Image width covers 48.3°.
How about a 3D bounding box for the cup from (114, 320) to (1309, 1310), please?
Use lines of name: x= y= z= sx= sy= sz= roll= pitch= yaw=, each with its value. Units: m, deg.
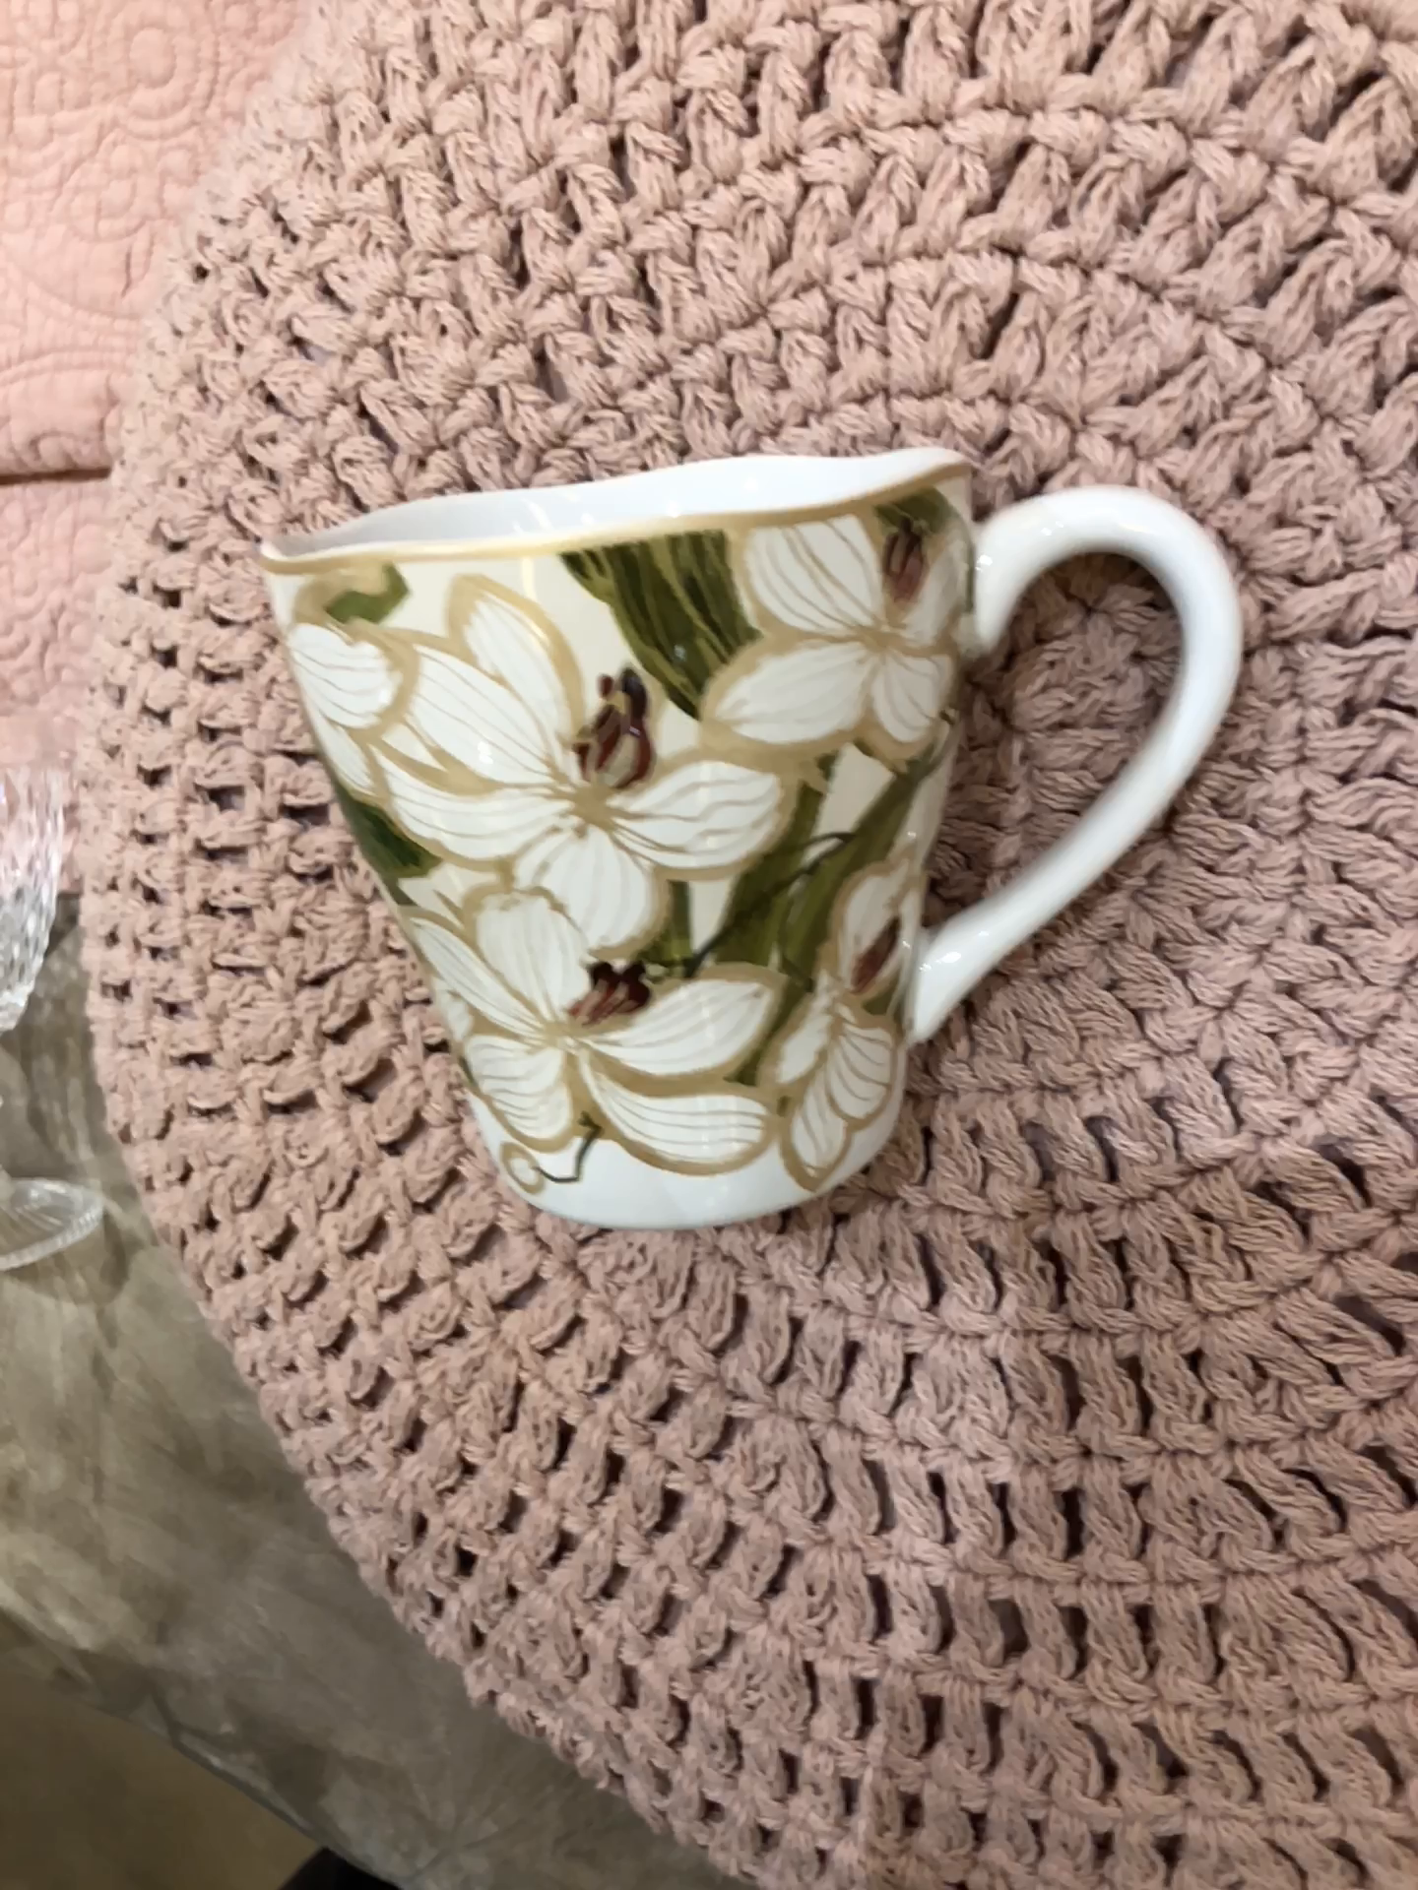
cup: x=0.010 y=-0.021 z=0.244 sx=0.140 sy=0.090 sz=0.120 roll=-4 pitch=110 yaw=14
